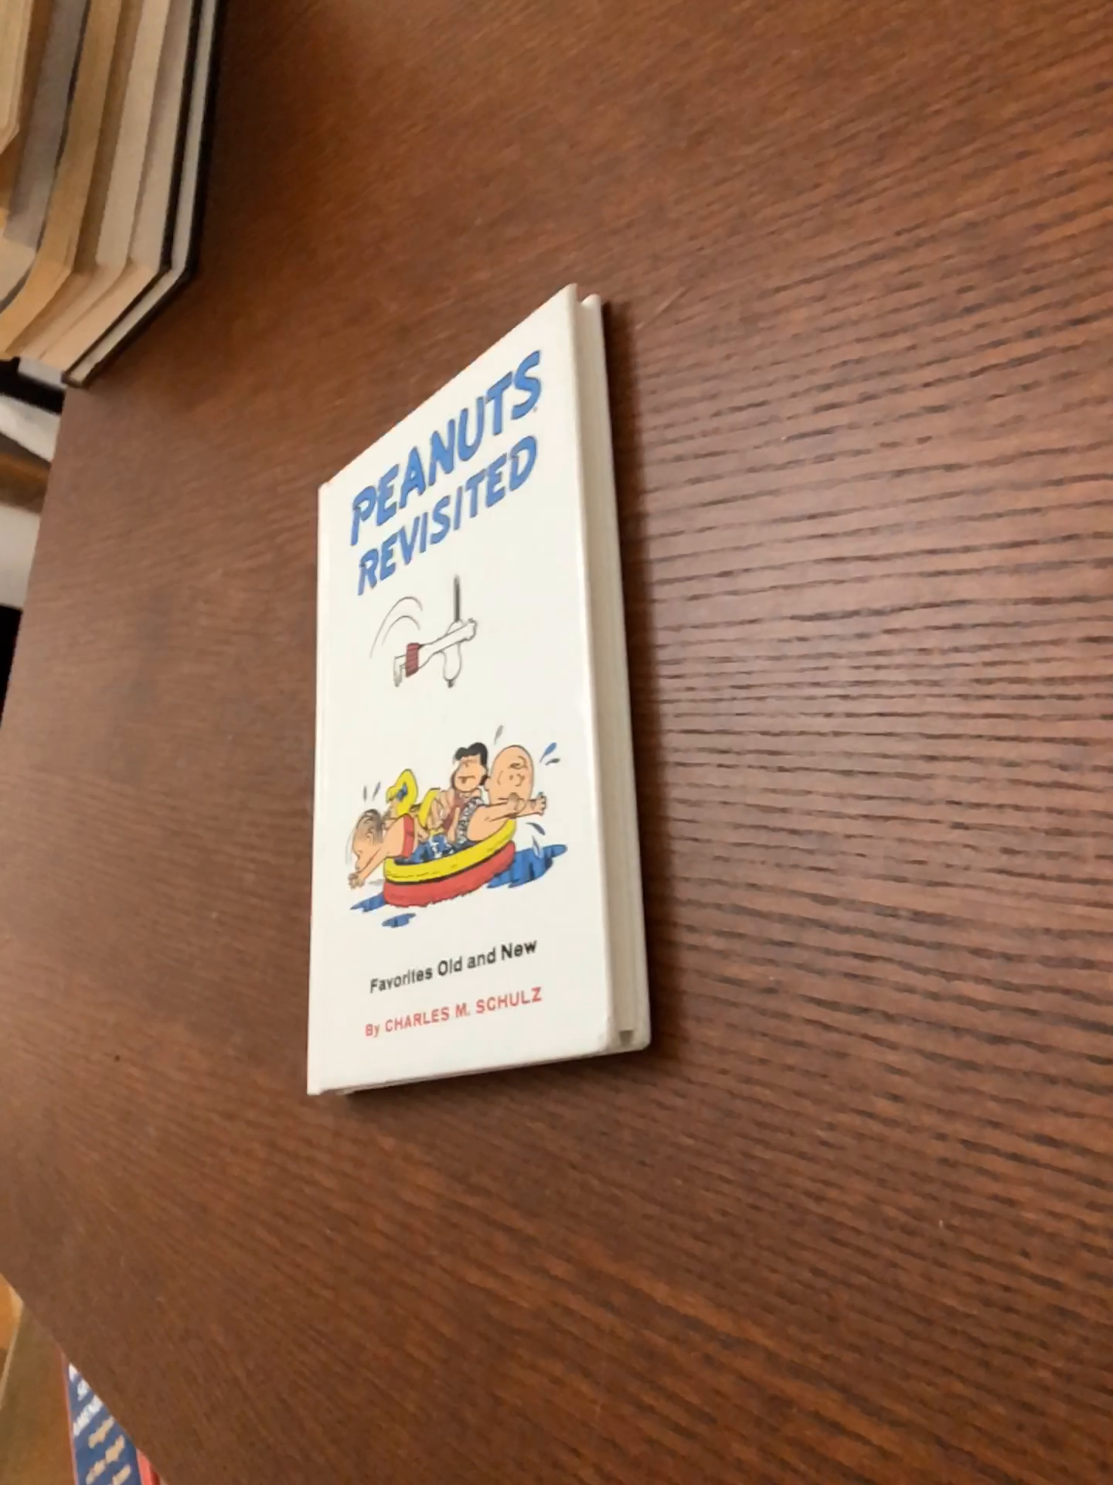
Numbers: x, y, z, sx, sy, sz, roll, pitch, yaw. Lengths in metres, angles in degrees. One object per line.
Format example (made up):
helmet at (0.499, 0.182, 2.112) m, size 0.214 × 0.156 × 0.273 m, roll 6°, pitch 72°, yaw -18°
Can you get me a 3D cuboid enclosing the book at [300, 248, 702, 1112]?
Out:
book at (-0.027, -0.010, 0.363) m, size 0.151 × 0.020 × 0.220 m, roll -23°, pitch 63°, yaw 46°
